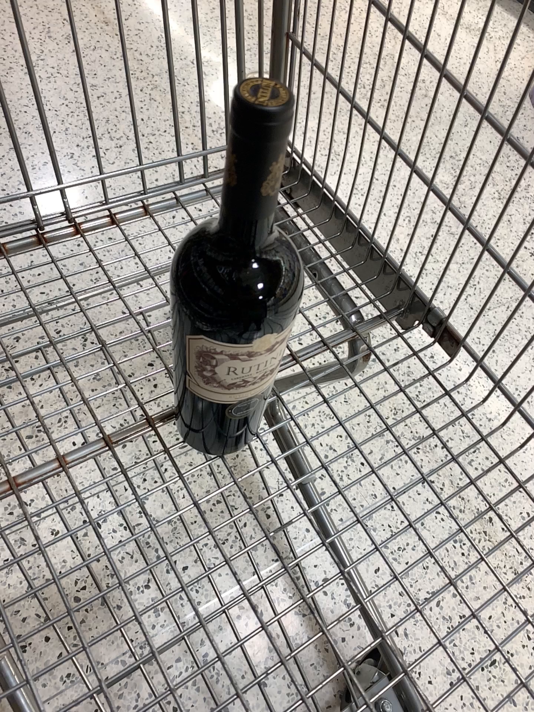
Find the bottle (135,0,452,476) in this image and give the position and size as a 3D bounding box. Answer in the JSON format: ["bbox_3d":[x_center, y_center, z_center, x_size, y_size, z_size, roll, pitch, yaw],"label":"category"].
[{"bbox_3d":[-0.016,-0.042,0.342,0.090,0.297,0.100,-24,65,-25],"label":"bottle"}]
